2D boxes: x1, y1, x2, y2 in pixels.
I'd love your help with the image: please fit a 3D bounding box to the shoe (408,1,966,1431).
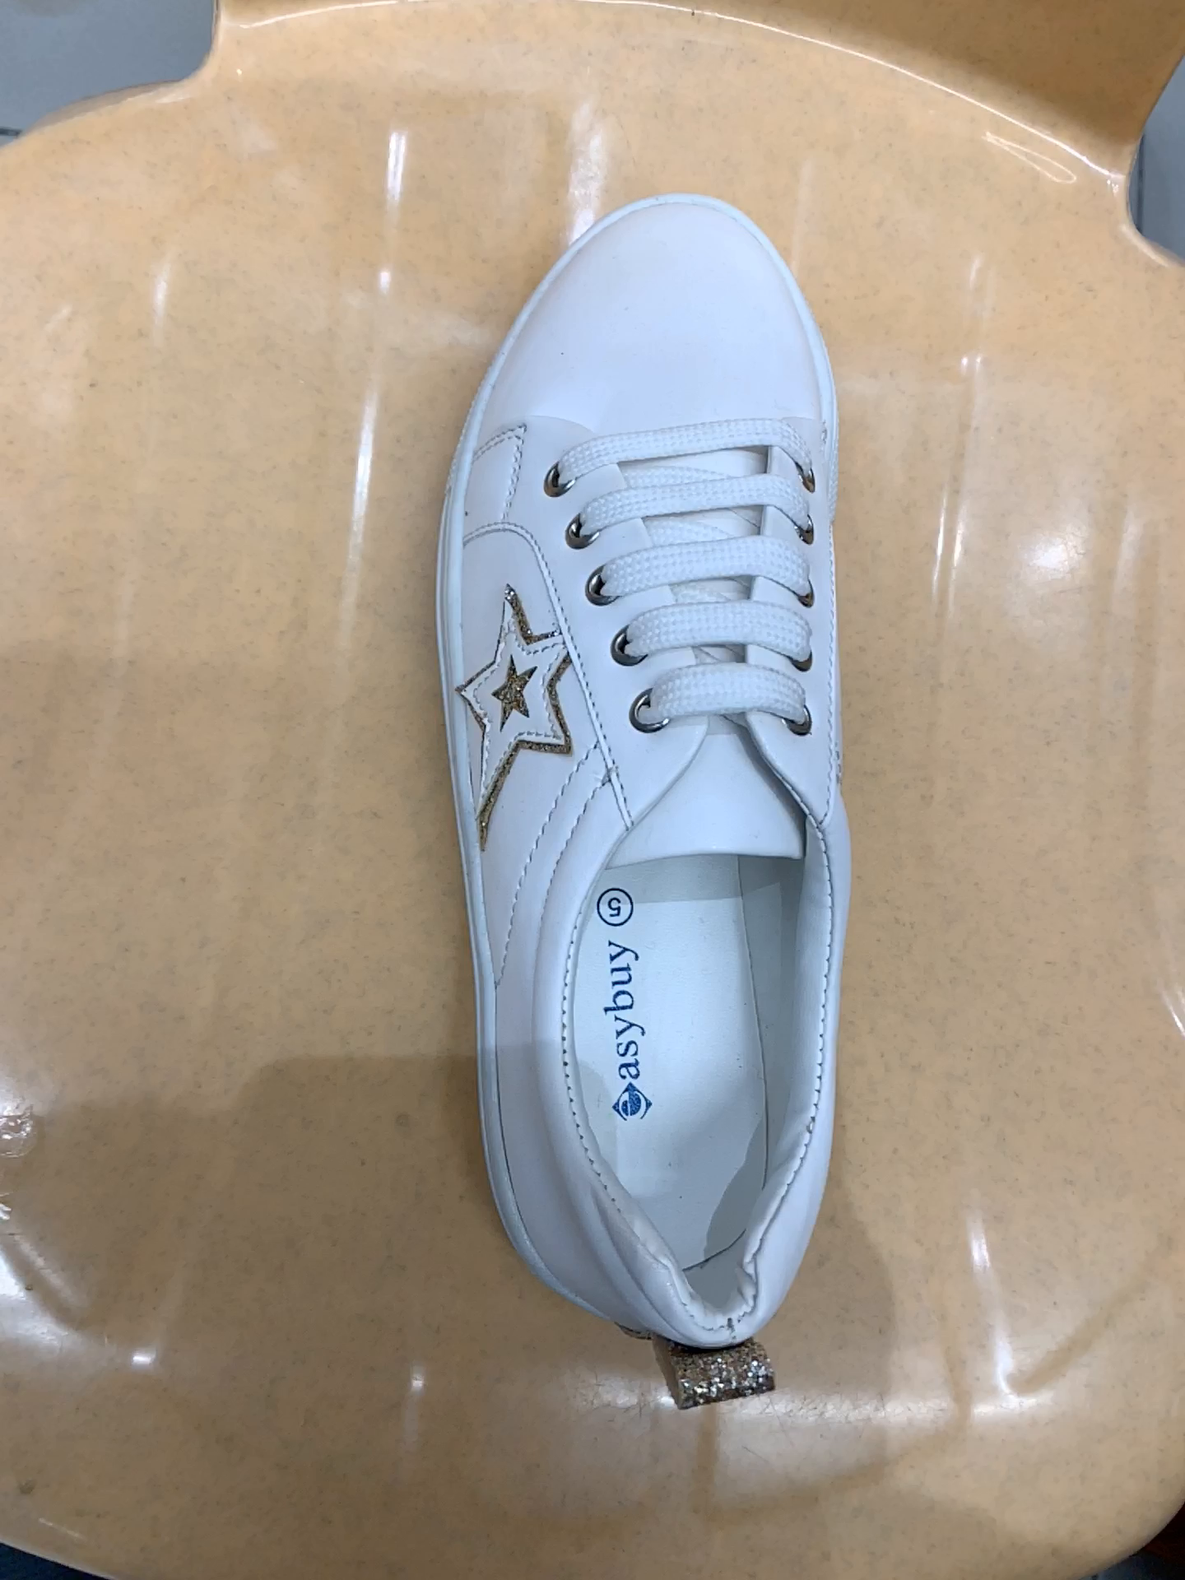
[{"bbox_3d":[0.014,-0.013,0.252,0.090,0.090,0.240,2,84,-5],"label":"shoe"}]
